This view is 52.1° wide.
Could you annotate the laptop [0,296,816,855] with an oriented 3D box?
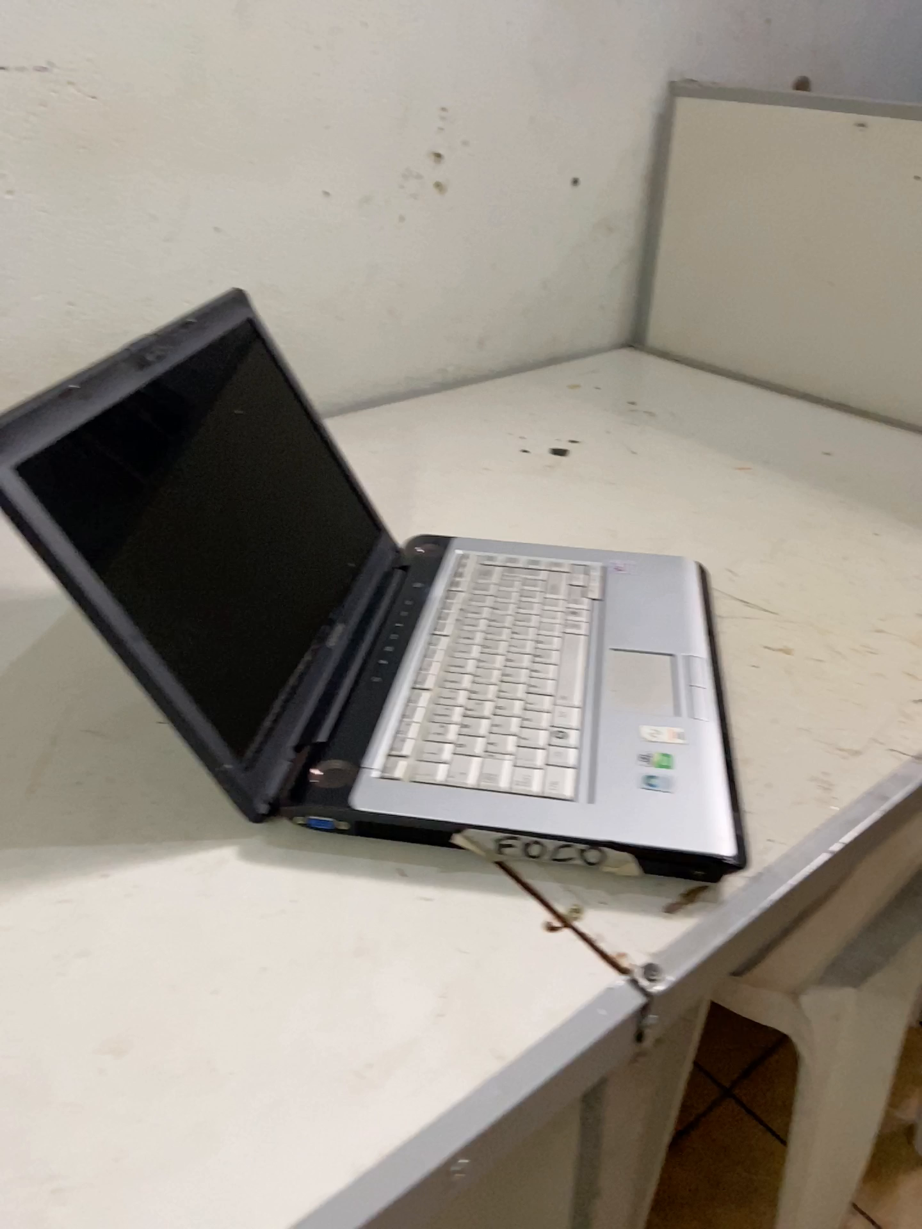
[{"bbox_3d":[-0.014,-0.063,0.635,0.393,0.200,0.353,6,31,7],"label":"laptop"}]
